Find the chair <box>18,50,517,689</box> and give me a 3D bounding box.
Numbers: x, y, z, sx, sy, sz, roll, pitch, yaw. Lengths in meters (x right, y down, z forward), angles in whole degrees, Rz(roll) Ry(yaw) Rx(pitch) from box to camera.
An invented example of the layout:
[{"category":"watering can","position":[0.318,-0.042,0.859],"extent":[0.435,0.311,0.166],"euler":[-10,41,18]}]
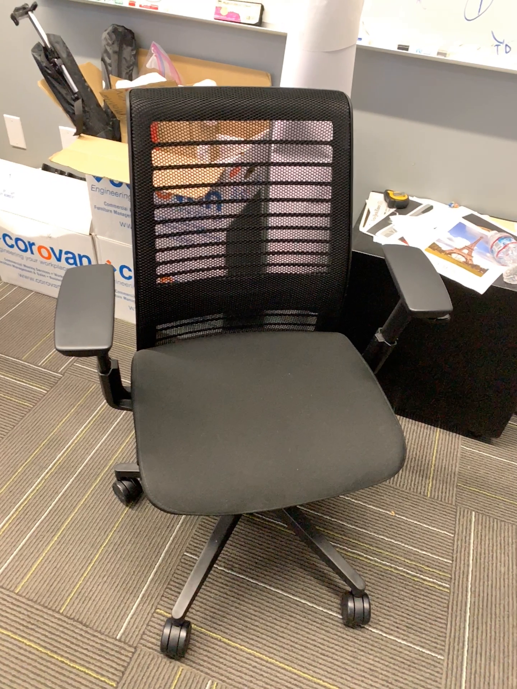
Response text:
[{"category":"chair","position":[0.013,0.038,1.001],"extent":[0.660,0.915,0.684],"euler":[-8,42,-15]}]
